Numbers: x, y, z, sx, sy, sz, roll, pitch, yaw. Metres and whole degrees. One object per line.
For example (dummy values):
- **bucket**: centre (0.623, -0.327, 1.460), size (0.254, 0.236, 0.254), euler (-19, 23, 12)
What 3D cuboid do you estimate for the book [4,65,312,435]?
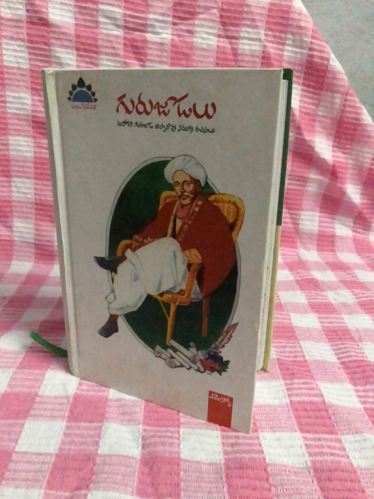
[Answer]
- **book**: centre (-0.017, -0.007, 0.276), size (0.160, 0.209, 0.070), euler (10, 25, 21)
